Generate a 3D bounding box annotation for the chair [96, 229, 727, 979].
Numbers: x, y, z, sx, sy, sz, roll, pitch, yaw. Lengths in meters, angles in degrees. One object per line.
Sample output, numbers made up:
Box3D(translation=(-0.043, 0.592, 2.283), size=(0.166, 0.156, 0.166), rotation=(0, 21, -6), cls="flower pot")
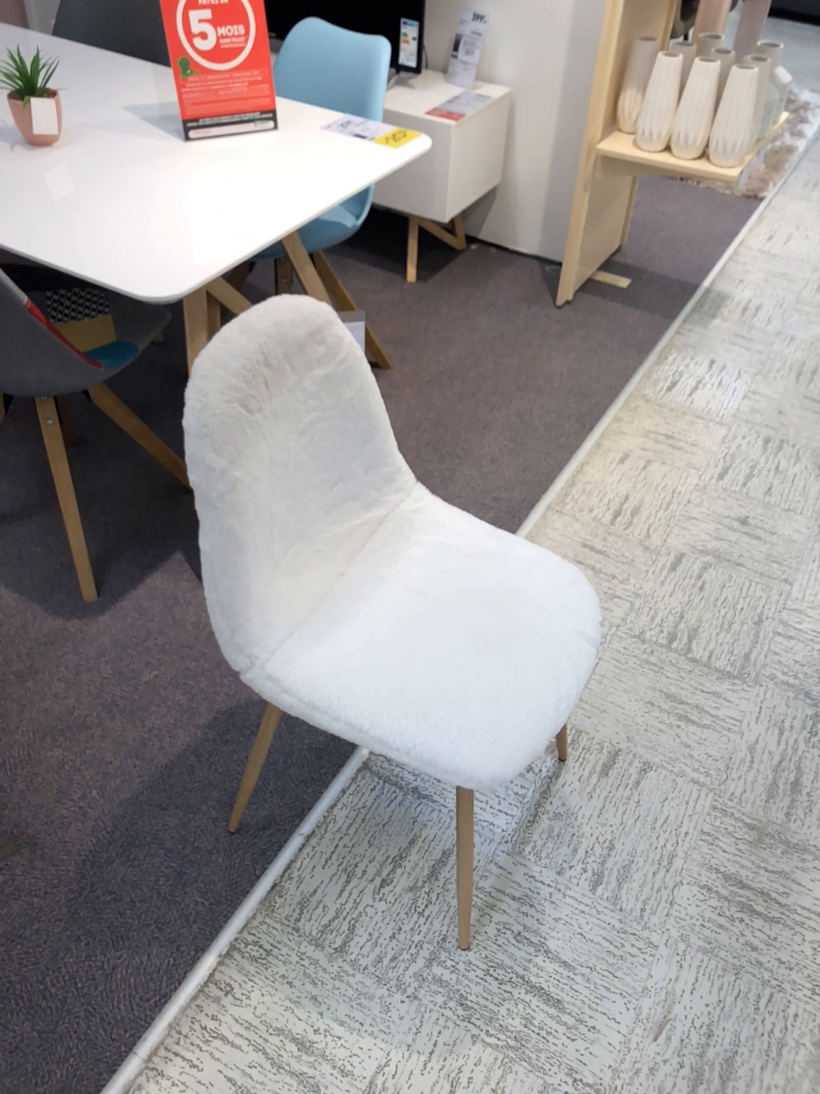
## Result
Box3D(translation=(0.015, 0.092, 1.308), size=(0.550, 0.815, 0.523), rotation=(21, 46, 17), cls="chair")
